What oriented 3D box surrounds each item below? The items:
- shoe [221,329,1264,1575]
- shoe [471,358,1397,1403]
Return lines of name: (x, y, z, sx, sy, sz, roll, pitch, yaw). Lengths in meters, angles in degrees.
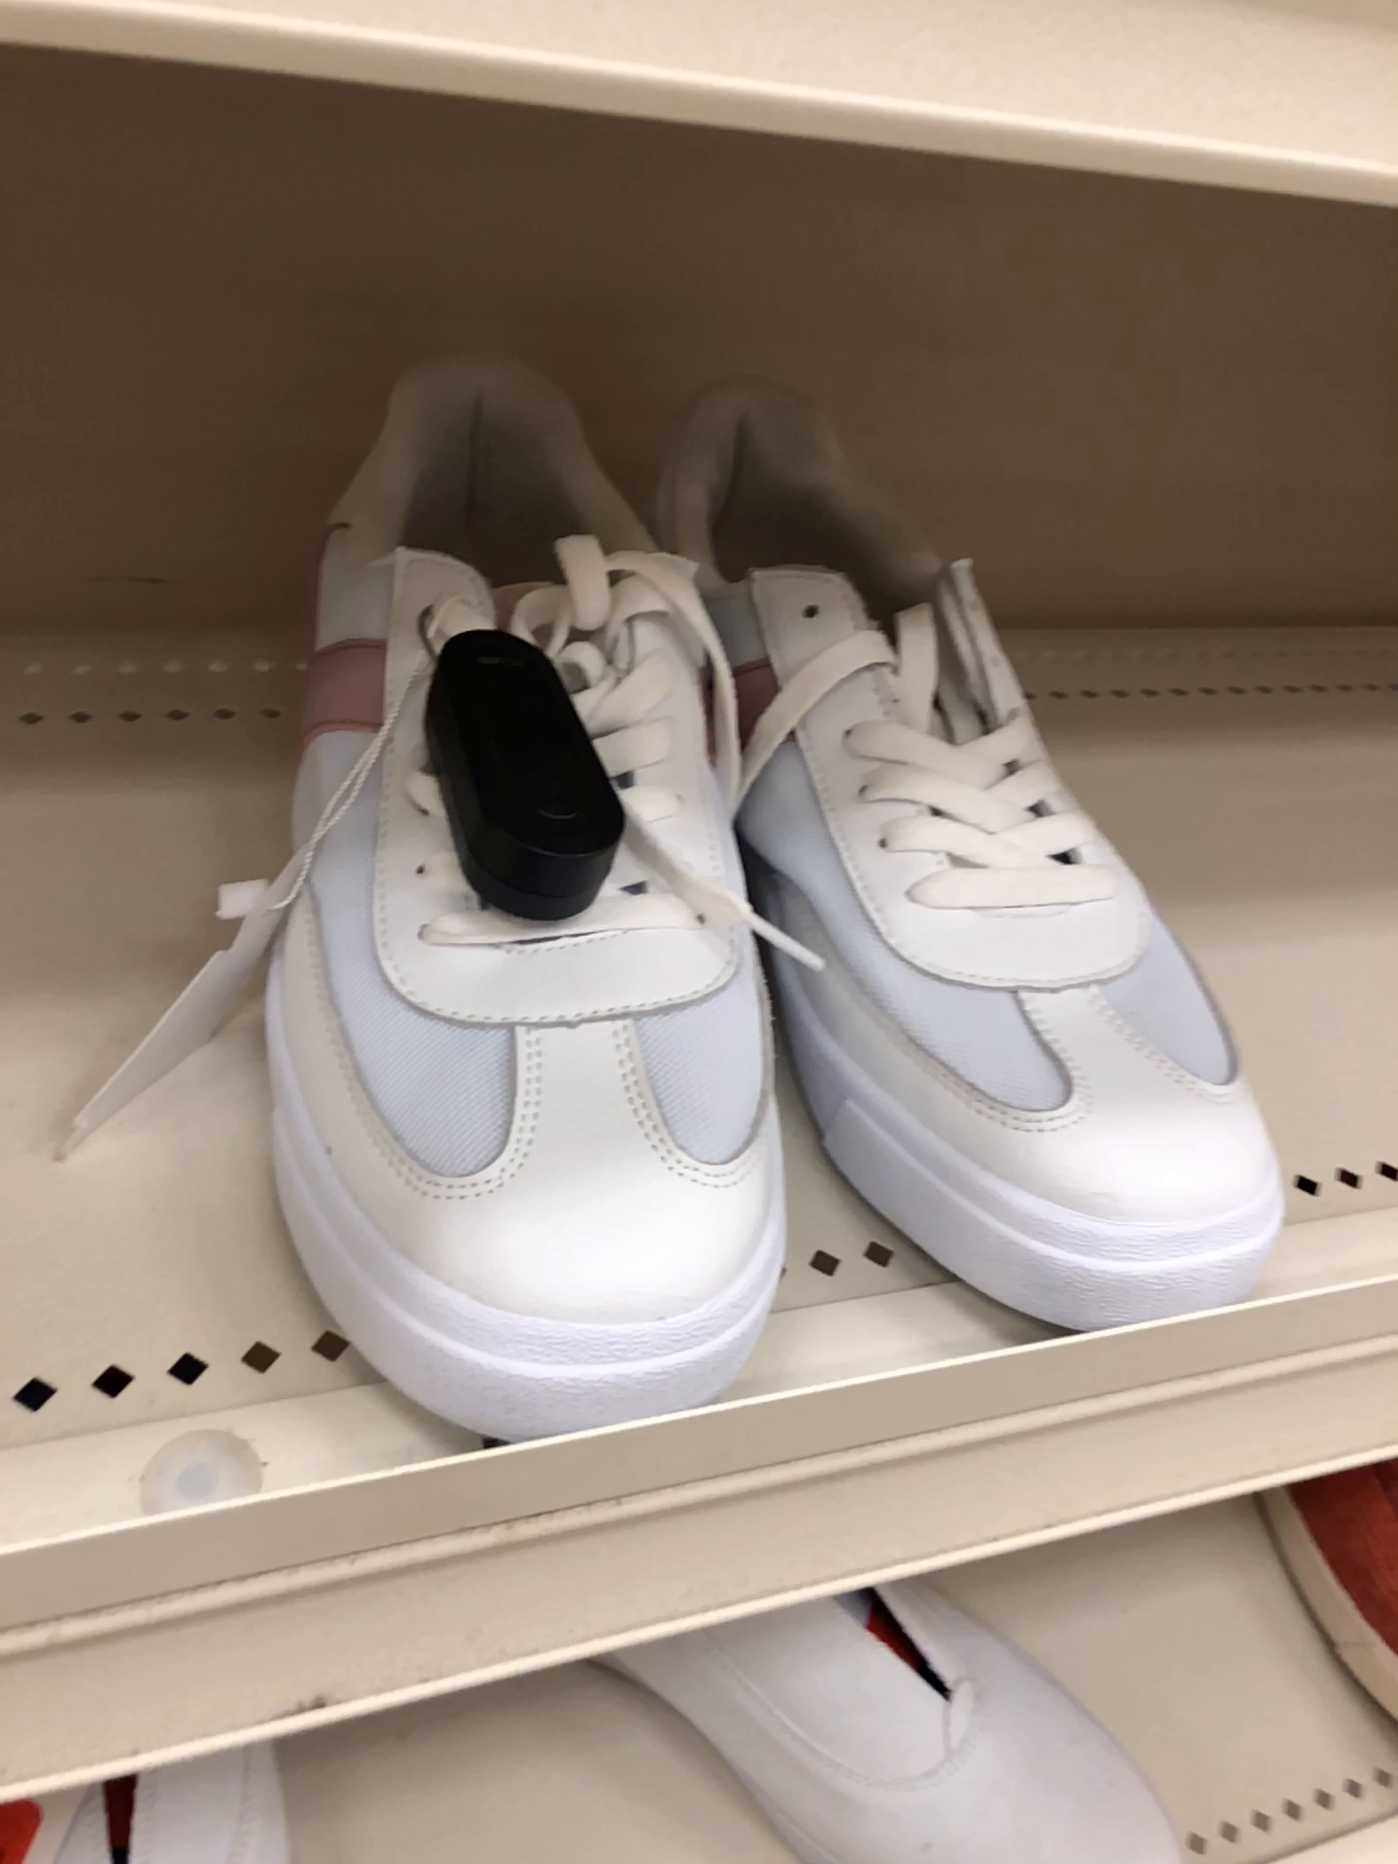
shoe: (-0.046, -0.056, 0.369, 0.120, 0.119, 0.393, -3, 27, -17)
shoe: (0.046, -0.065, 0.419, 0.120, 0.119, 0.392, -5, 27, -21)
